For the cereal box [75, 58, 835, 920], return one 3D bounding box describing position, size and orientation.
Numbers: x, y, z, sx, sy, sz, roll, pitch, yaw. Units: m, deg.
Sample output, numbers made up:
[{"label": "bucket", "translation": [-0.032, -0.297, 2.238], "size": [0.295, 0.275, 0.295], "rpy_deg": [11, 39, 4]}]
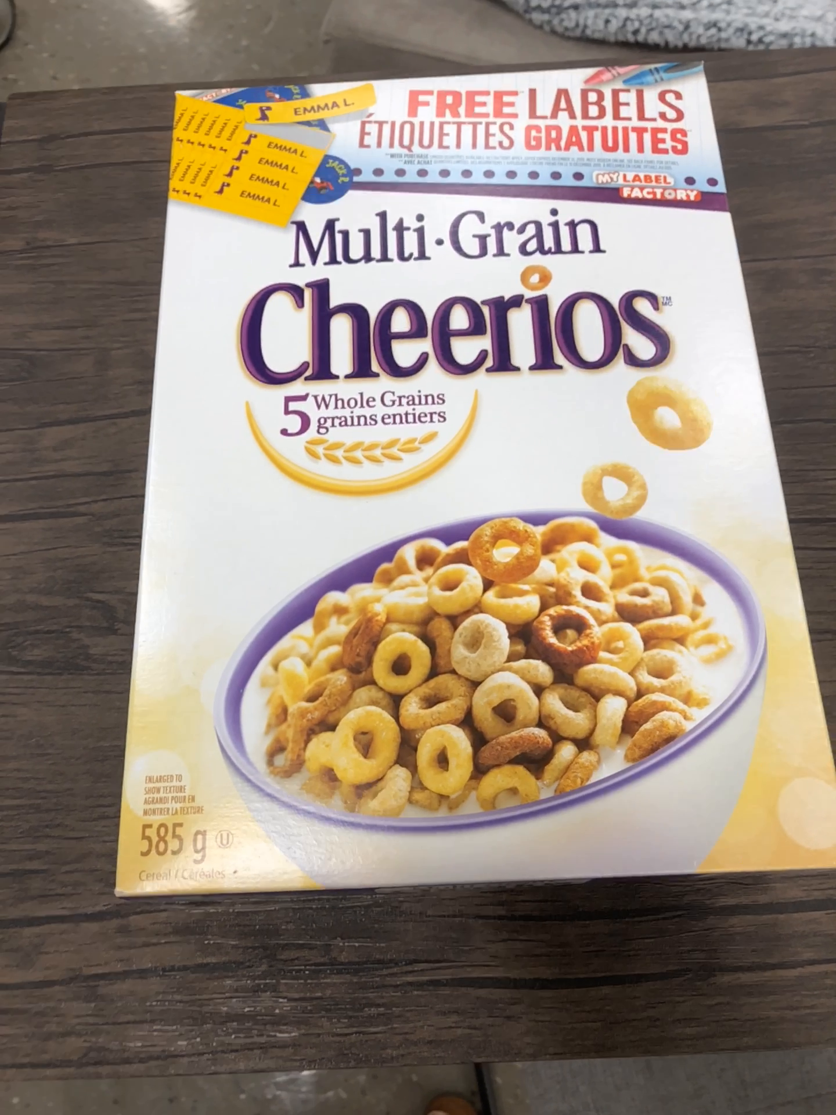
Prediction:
[{"label": "cereal box", "translation": [0.020, -0.040, 0.372], "size": [0.250, 0.070, 0.340], "rpy_deg": [-2, 68, 2]}]
